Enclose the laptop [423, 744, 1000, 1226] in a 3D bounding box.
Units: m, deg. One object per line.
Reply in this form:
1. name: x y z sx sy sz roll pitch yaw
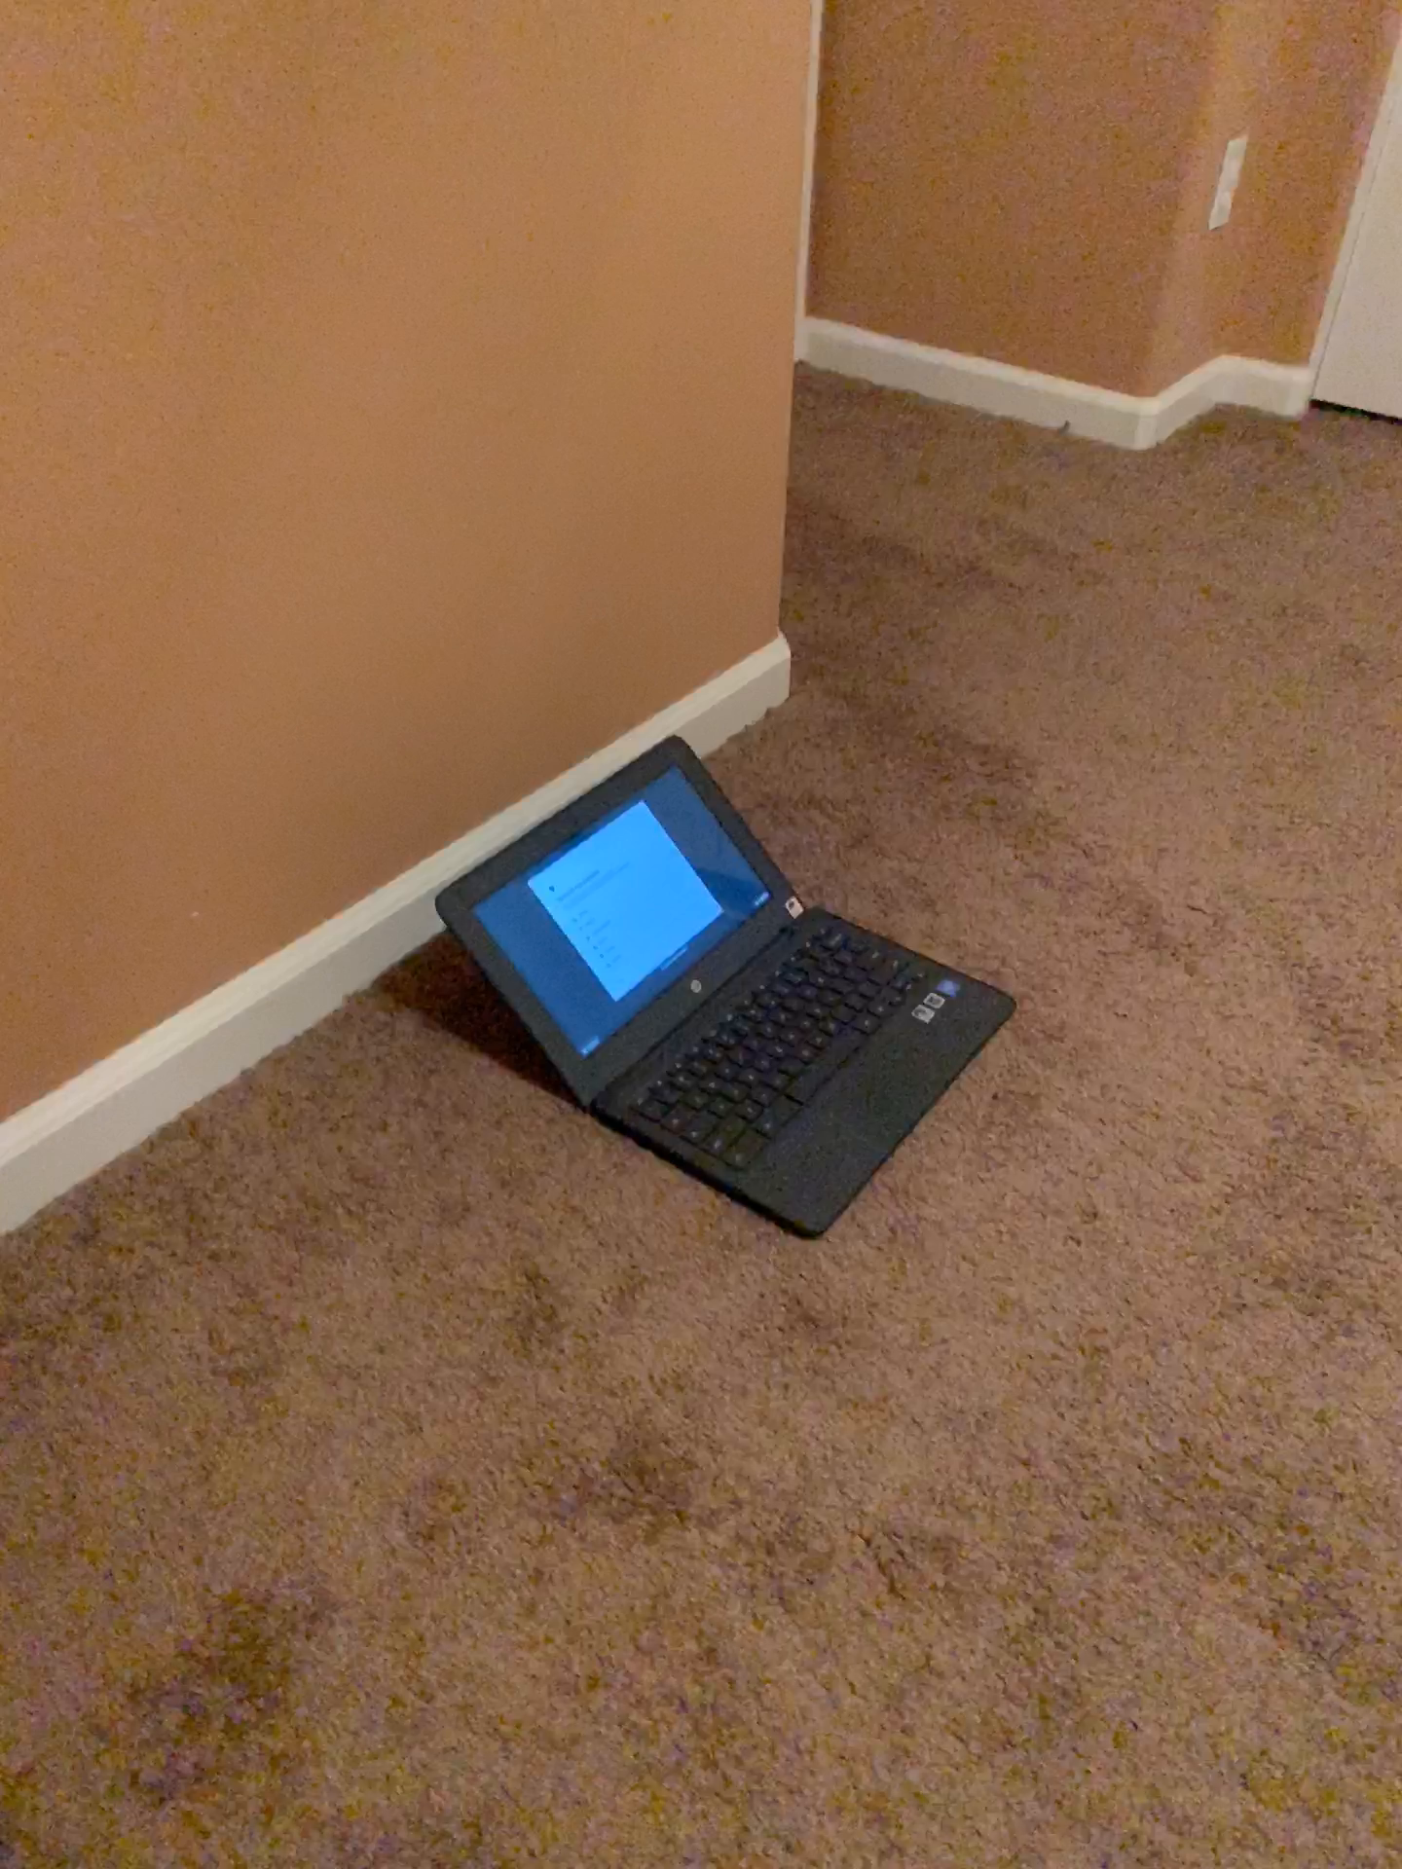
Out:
1. laptop: 0.009 0.017 1.115 0.332 0.124 0.289 25 44 27
